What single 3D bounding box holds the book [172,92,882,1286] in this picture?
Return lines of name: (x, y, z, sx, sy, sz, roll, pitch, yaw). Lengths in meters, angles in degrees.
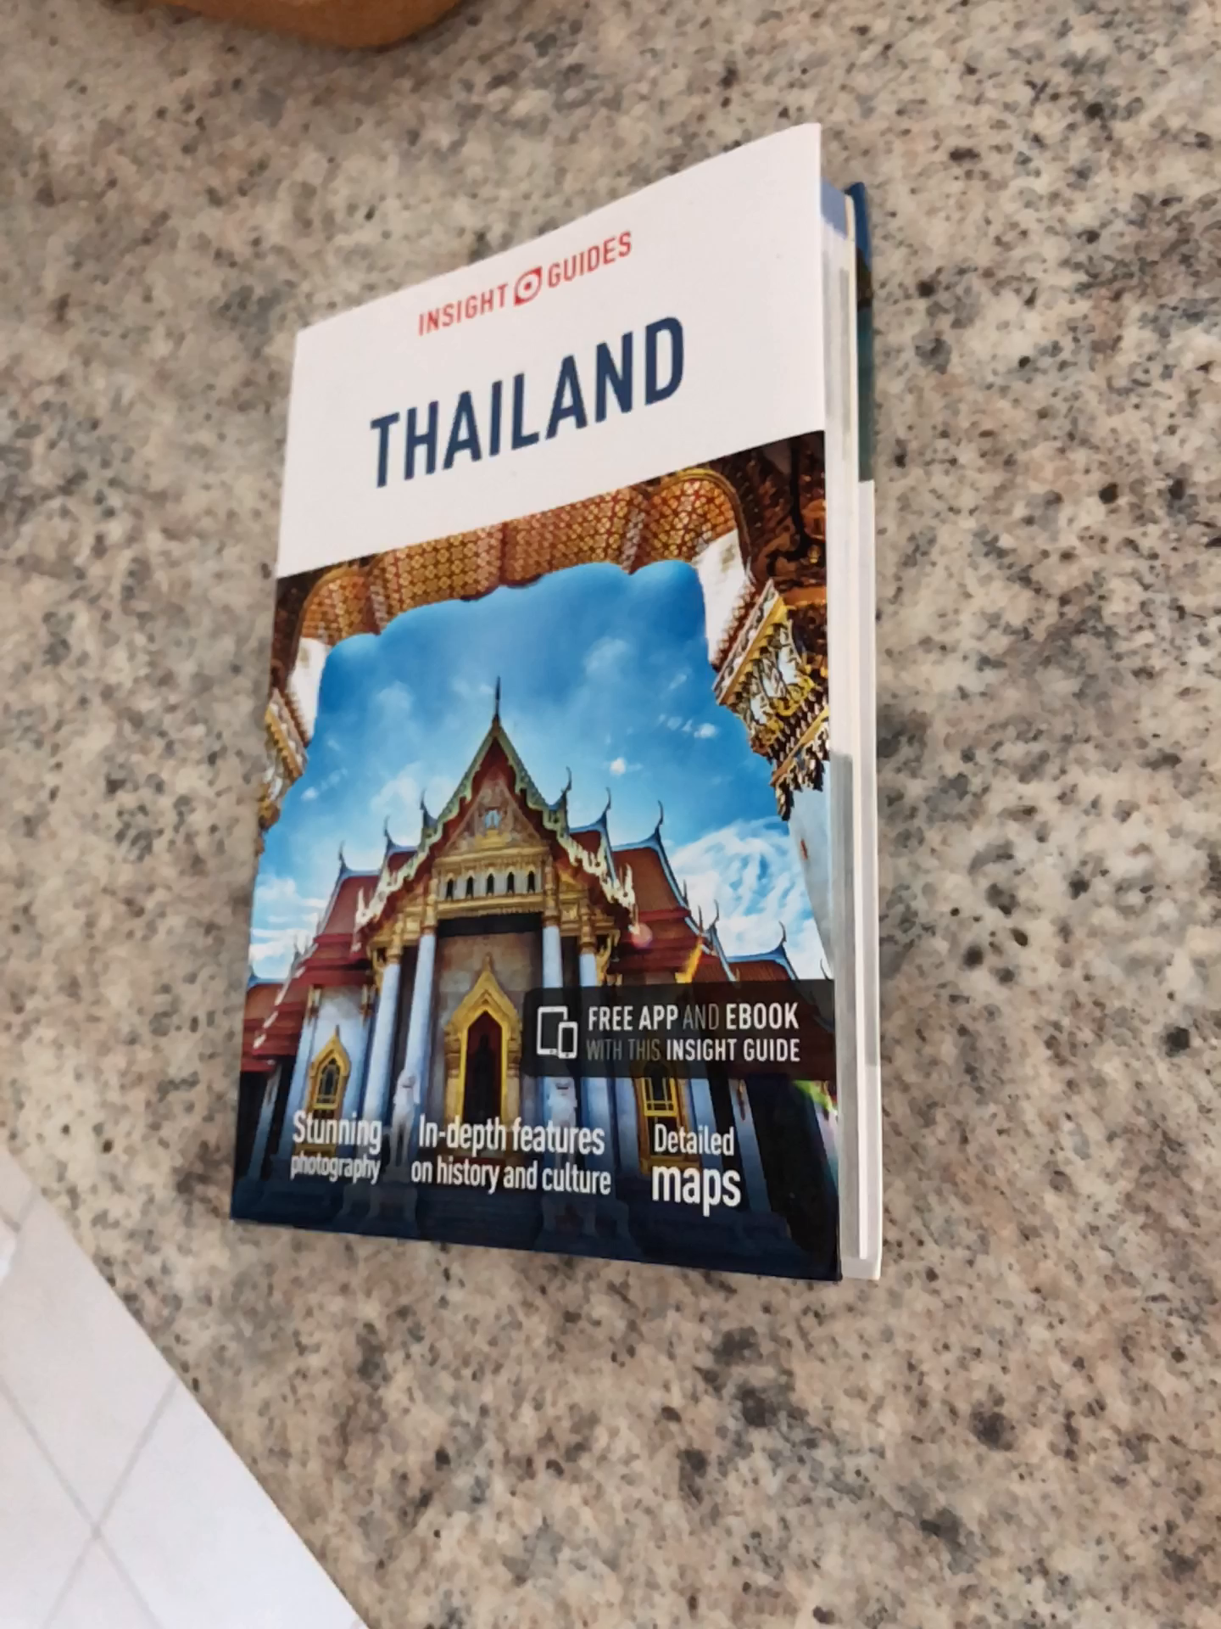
book: (-0.022, -0.024, 0.317, 0.164, 0.030, 0.240, -8, 72, 33)
